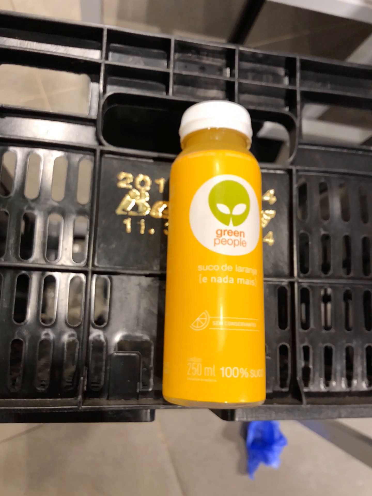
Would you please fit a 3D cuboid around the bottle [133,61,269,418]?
[{"bbox_3d":[0.004,-0.006,0.235,0.060,0.050,0.180,2,76,-10],"label":"bottle"}]
